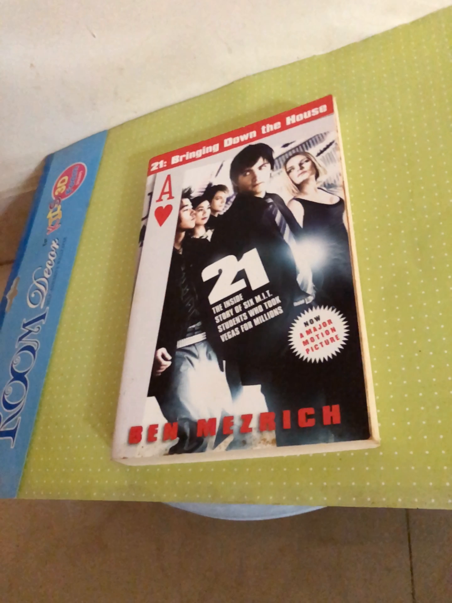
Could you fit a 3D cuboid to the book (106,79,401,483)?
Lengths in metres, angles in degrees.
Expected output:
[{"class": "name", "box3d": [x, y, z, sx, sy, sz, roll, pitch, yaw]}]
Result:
[{"class": "book", "box3d": [0.012, -0.015, 0.283, 0.130, 0.040, 0.210, -12, 59, 23]}]
